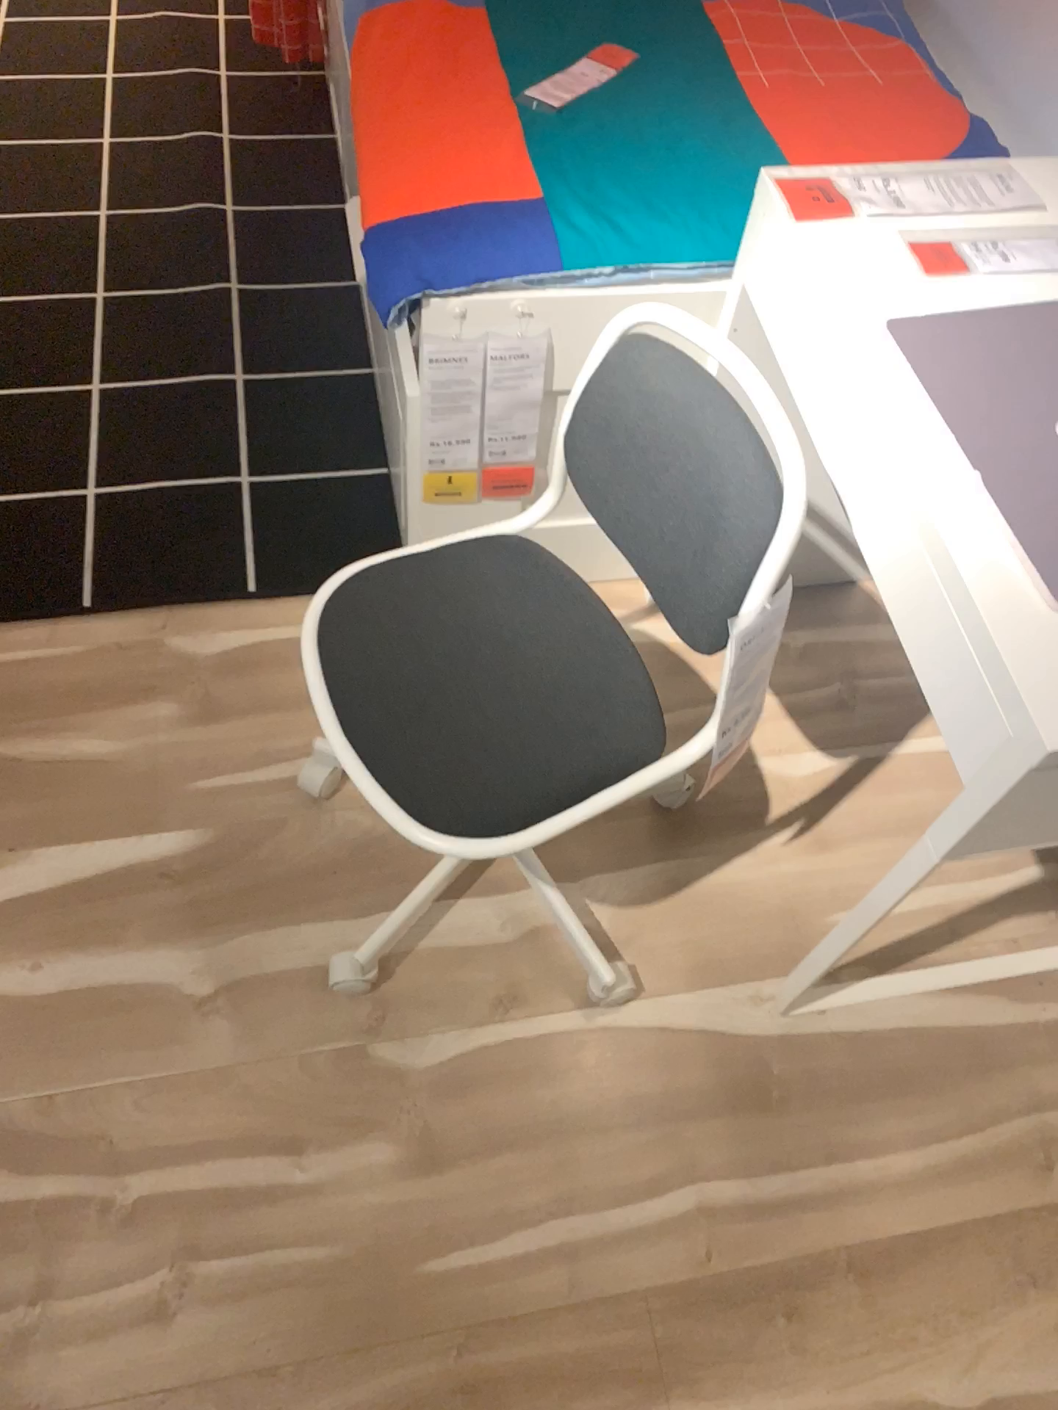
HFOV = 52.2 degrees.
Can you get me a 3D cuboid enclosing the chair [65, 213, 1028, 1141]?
[{"bbox_3d":[-0.024,-0.009,1.155,0.590,0.629,0.571,-24,63,-19],"label":"chair"}]
